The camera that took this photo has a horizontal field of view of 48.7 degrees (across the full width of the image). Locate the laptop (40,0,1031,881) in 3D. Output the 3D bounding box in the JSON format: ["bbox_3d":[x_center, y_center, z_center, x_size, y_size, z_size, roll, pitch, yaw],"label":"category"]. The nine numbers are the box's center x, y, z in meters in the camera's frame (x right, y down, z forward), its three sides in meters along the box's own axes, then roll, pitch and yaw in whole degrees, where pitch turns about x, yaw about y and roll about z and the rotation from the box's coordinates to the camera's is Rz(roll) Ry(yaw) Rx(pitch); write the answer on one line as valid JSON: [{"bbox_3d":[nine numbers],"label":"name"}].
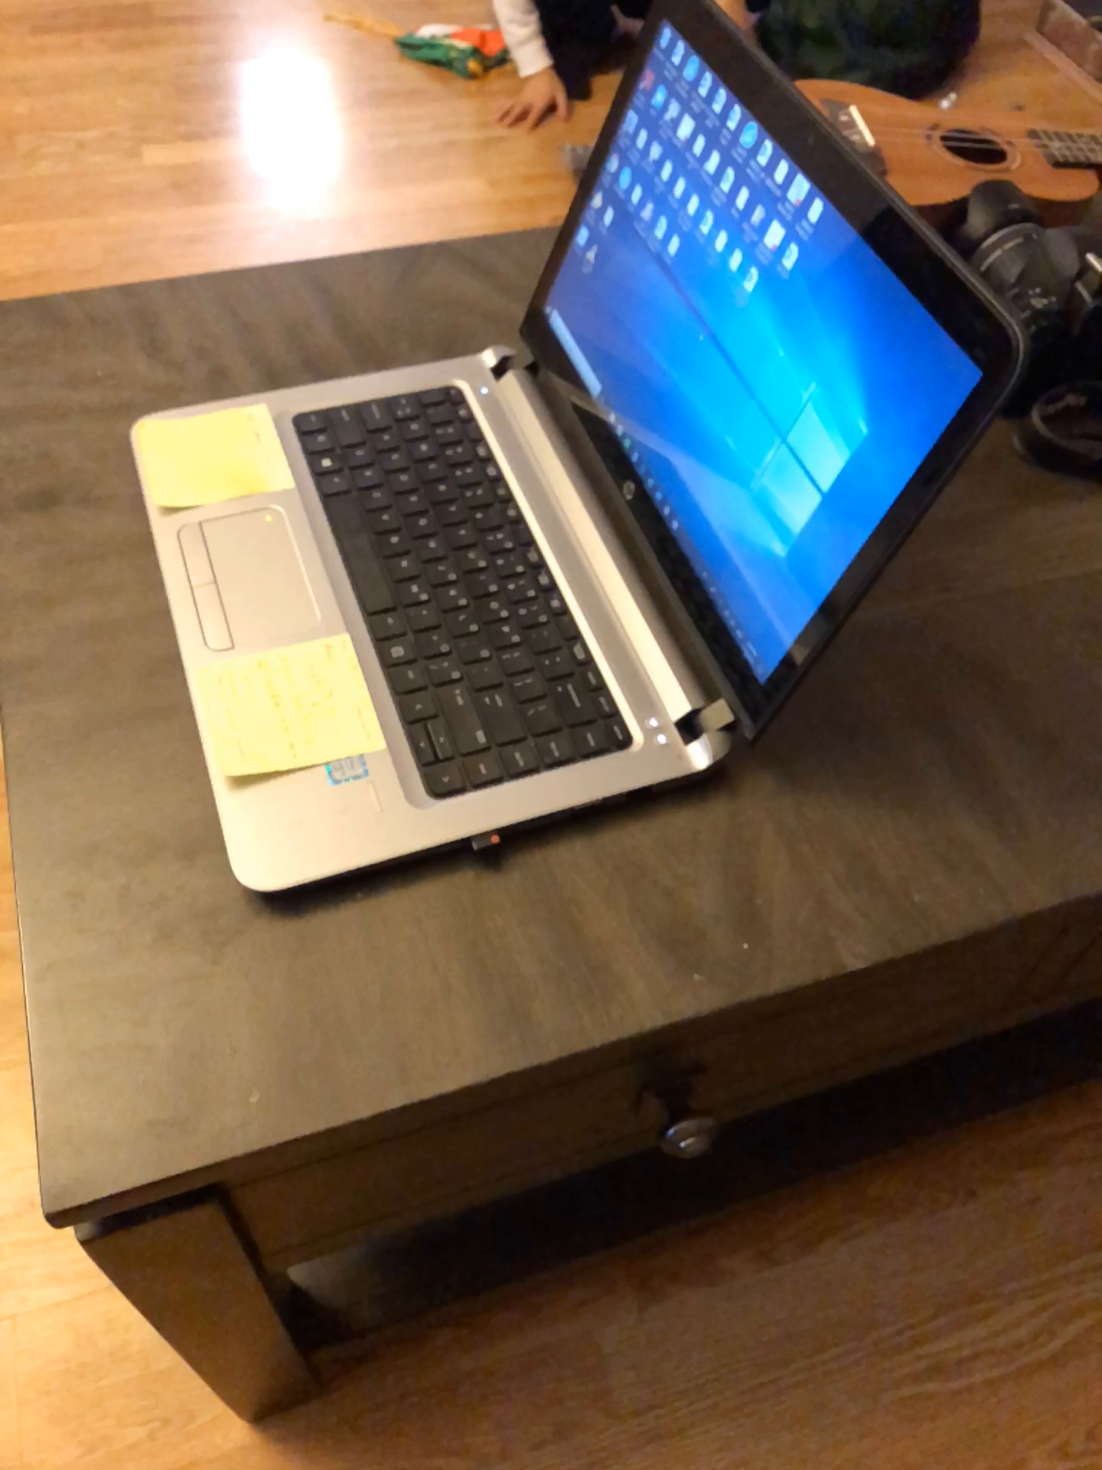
[{"bbox_3d":[-0.032,-0.157,0.570,0.313,0.203,0.317,-15,55,-14],"label":"laptop"}]
